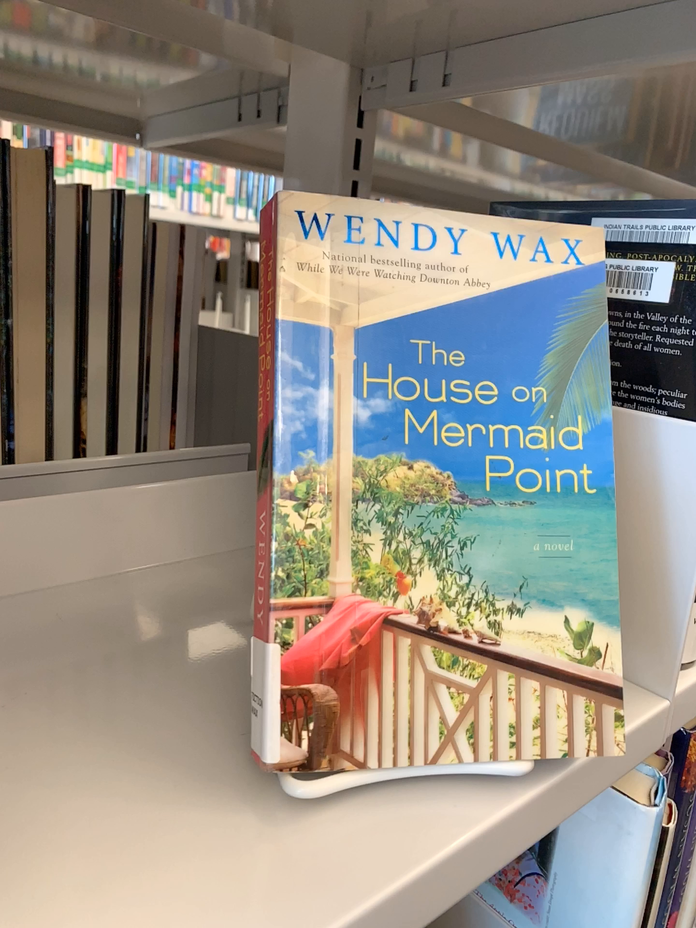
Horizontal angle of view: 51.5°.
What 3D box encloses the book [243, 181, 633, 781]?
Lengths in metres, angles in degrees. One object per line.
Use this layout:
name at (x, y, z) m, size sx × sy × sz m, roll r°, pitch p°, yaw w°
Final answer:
book at (0.031, 0.005, 0.266) m, size 0.131 × 0.193 × 0.043 m, roll 2°, pitch -6°, yaw -12°
